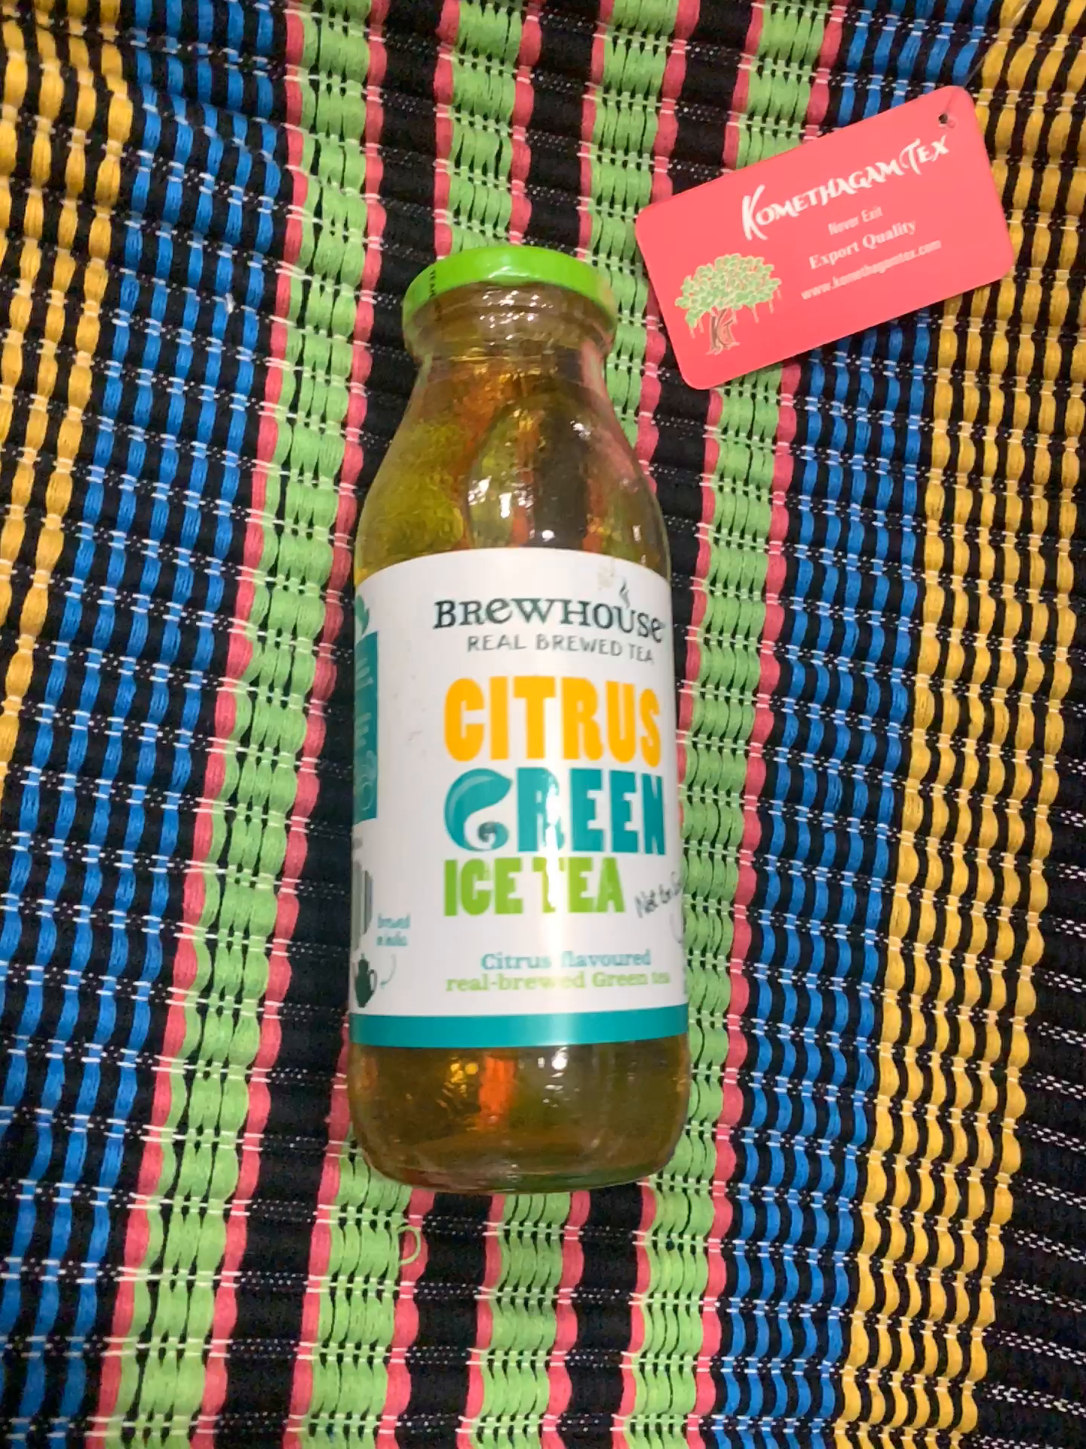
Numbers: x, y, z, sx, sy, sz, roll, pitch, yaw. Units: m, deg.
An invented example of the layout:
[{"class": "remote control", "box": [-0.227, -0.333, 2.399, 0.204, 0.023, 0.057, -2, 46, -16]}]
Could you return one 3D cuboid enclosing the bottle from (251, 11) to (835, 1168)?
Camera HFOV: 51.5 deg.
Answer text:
[{"class": "bottle", "box": [-0.004, -0.021, 0.220, 0.080, 0.070, 0.190, 6, 74, -23]}]
